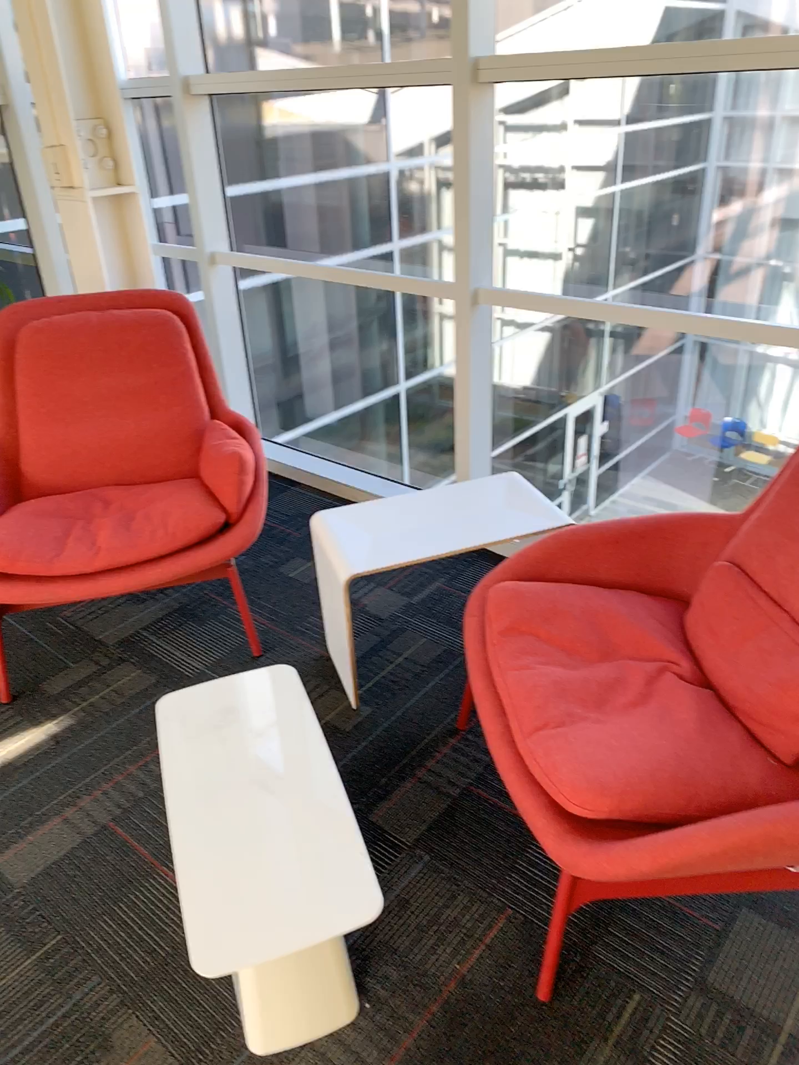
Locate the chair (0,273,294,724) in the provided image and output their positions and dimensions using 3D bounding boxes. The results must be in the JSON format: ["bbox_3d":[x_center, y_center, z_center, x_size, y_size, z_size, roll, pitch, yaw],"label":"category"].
[{"bbox_3d":[-0.879,-0.159,2.575,0.870,1.054,0.825,-9,30,-11],"label":"chair"}]

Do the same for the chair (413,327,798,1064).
[{"bbox_3d":[0.590,0.249,1.597,0.920,0.994,0.875,-8,29,-9],"label":"chair"}]
